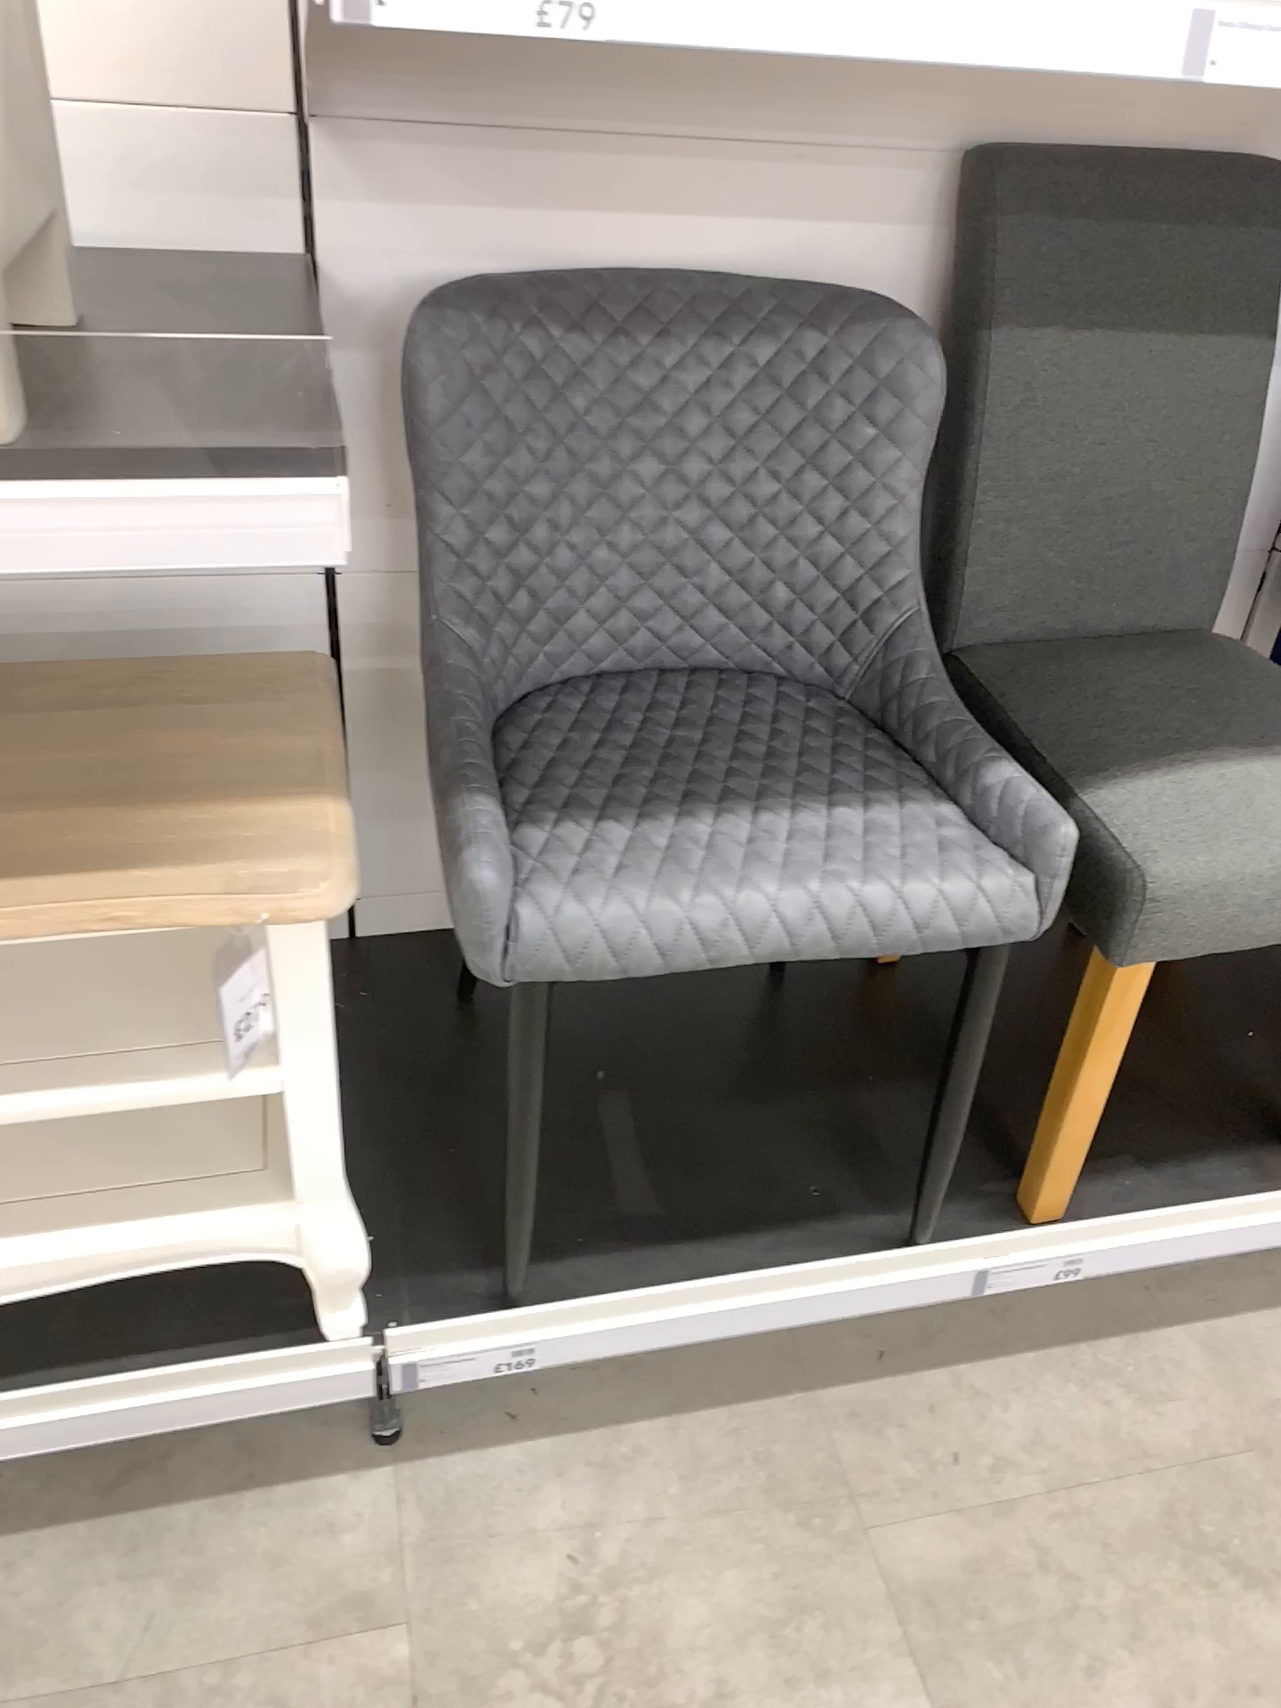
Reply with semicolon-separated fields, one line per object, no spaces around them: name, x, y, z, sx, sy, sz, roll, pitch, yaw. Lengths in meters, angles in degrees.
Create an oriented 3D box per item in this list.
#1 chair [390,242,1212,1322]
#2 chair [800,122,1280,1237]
chair;0.045;-0.084;1.223;0.480;0.792;0.545;-4;34;-14
chair;0.520;-0.177;1.319;0.430;0.911;0.565;-5;34;-14
